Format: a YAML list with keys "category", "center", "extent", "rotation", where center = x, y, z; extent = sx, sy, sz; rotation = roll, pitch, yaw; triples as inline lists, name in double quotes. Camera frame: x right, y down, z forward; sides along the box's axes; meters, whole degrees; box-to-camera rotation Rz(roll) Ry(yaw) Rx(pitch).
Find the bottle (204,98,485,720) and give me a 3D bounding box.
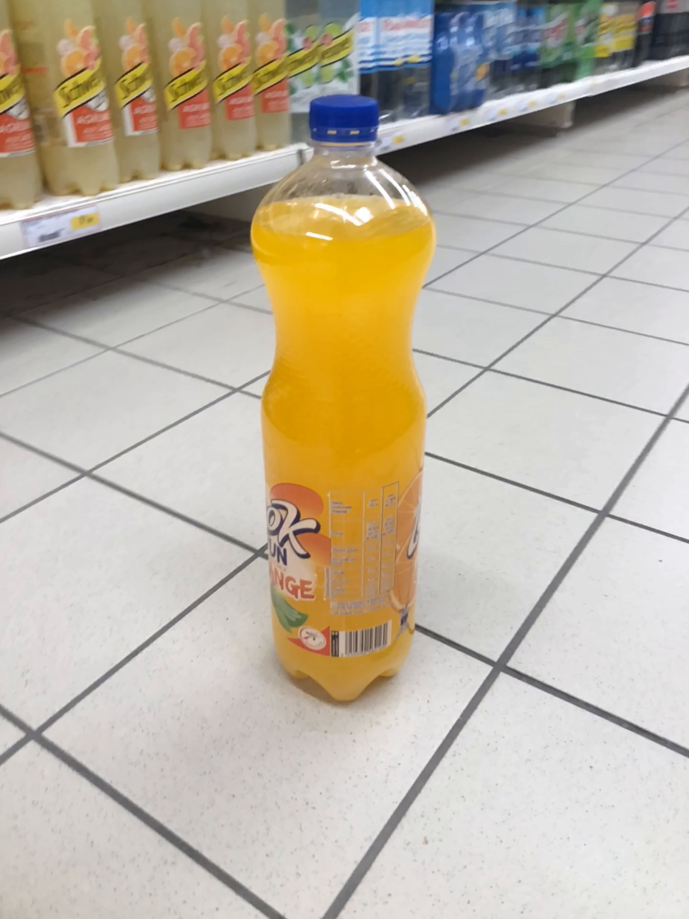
- category: "bottle"
  center: [-0.007, -0.018, 0.396]
  extent: [0.100, 0.298, 0.111]
  rotation: [-6, 31, -9]
